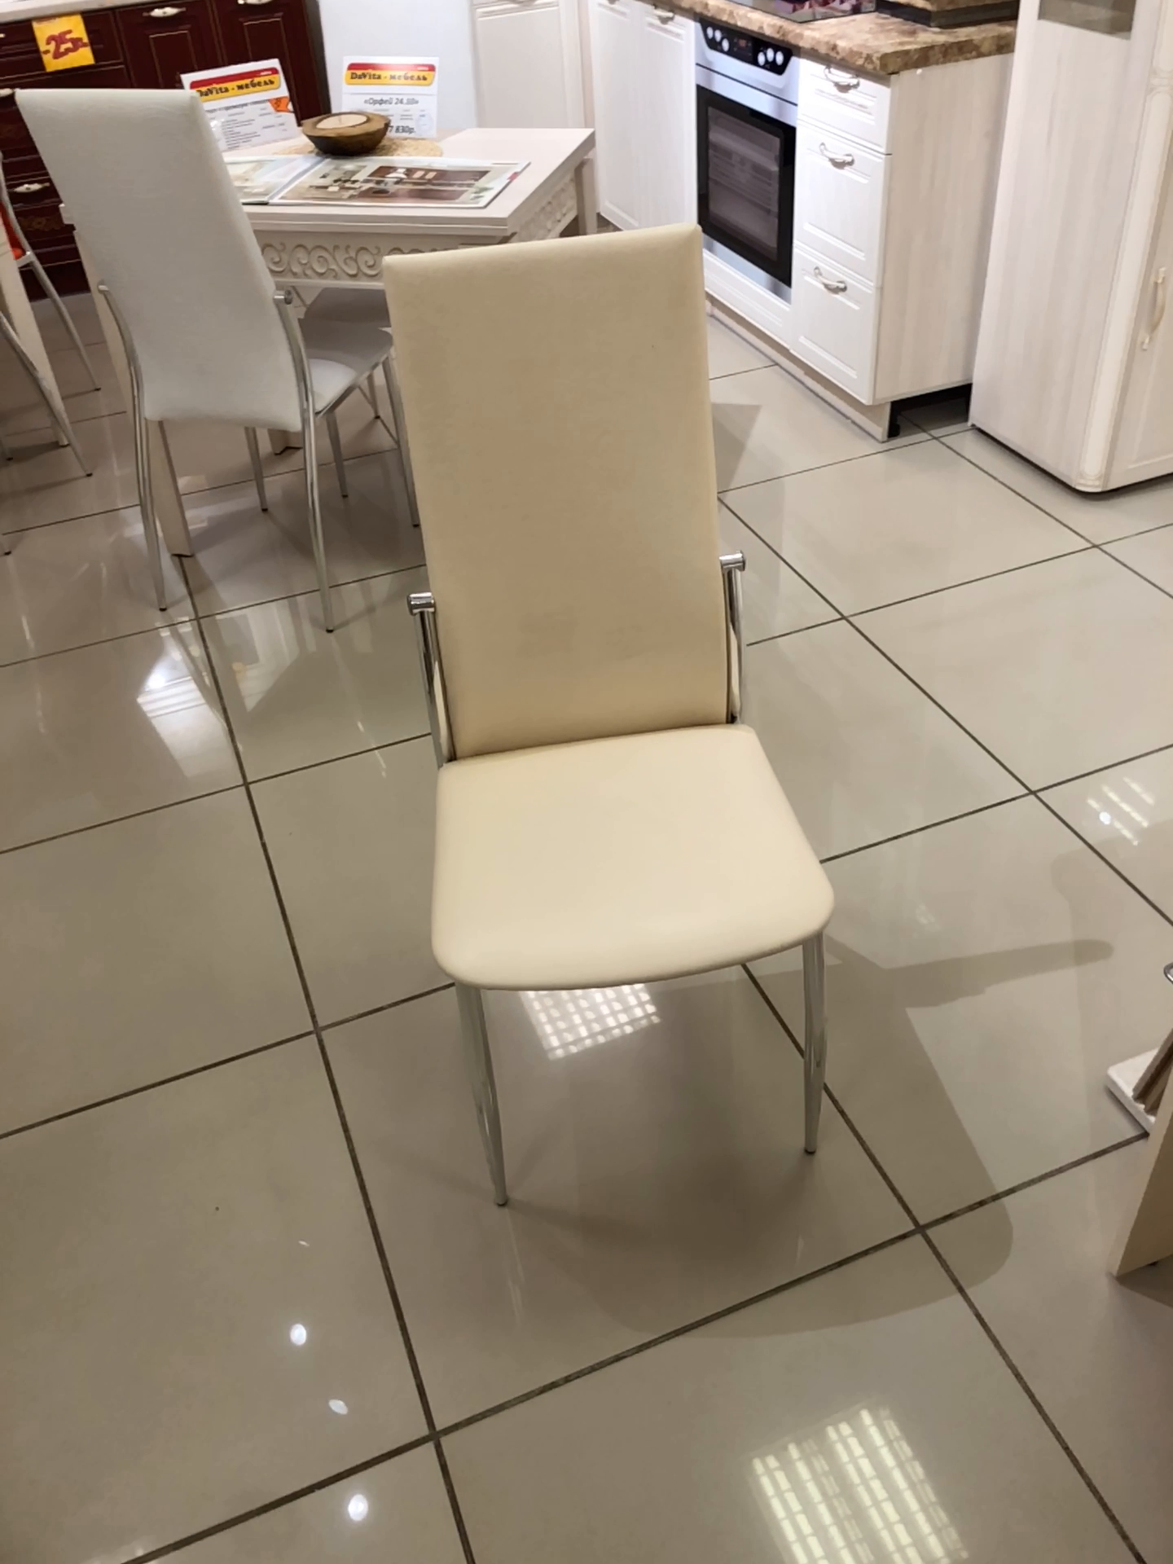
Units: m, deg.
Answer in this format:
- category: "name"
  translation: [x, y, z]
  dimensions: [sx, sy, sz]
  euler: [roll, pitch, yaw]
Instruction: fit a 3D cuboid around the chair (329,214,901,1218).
- category: "chair"
  translation: [0.020, -0.039, 1.457]
  dimensions: [0.430, 0.975, 0.503]
  euler: [-7, 39, -4]
